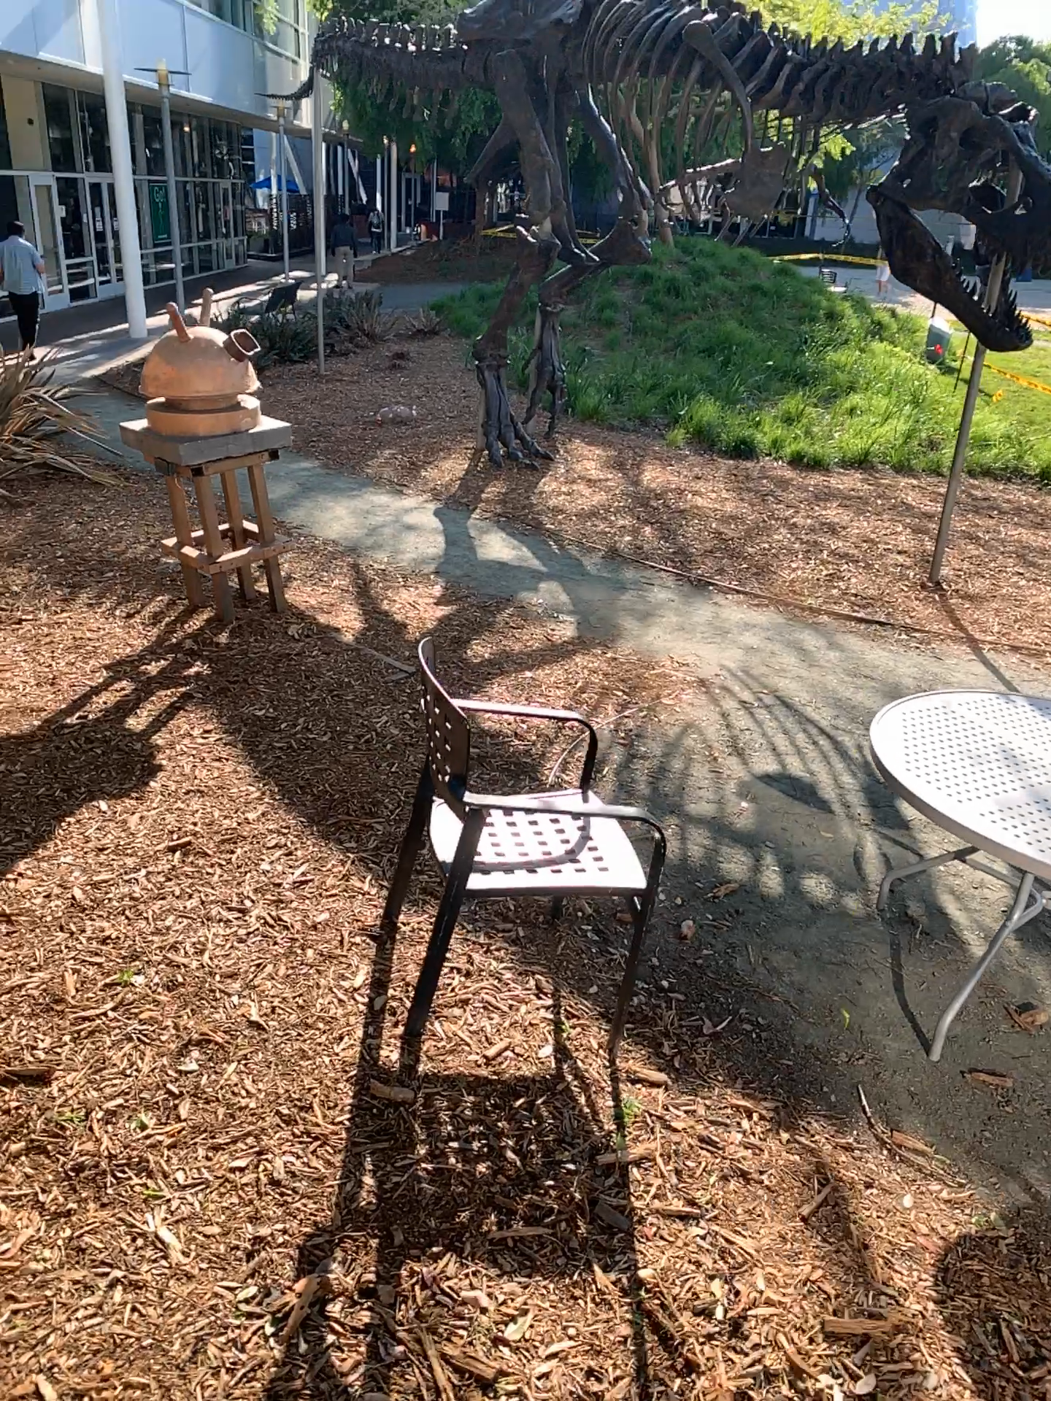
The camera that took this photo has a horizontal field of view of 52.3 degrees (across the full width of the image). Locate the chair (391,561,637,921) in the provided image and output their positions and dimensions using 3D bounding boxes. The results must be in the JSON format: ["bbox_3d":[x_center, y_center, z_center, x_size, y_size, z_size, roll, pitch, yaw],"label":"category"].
[{"bbox_3d":[-0.068,0.079,2.656,0.500,0.716,0.523,-1,25,-10],"label":"chair"}]
